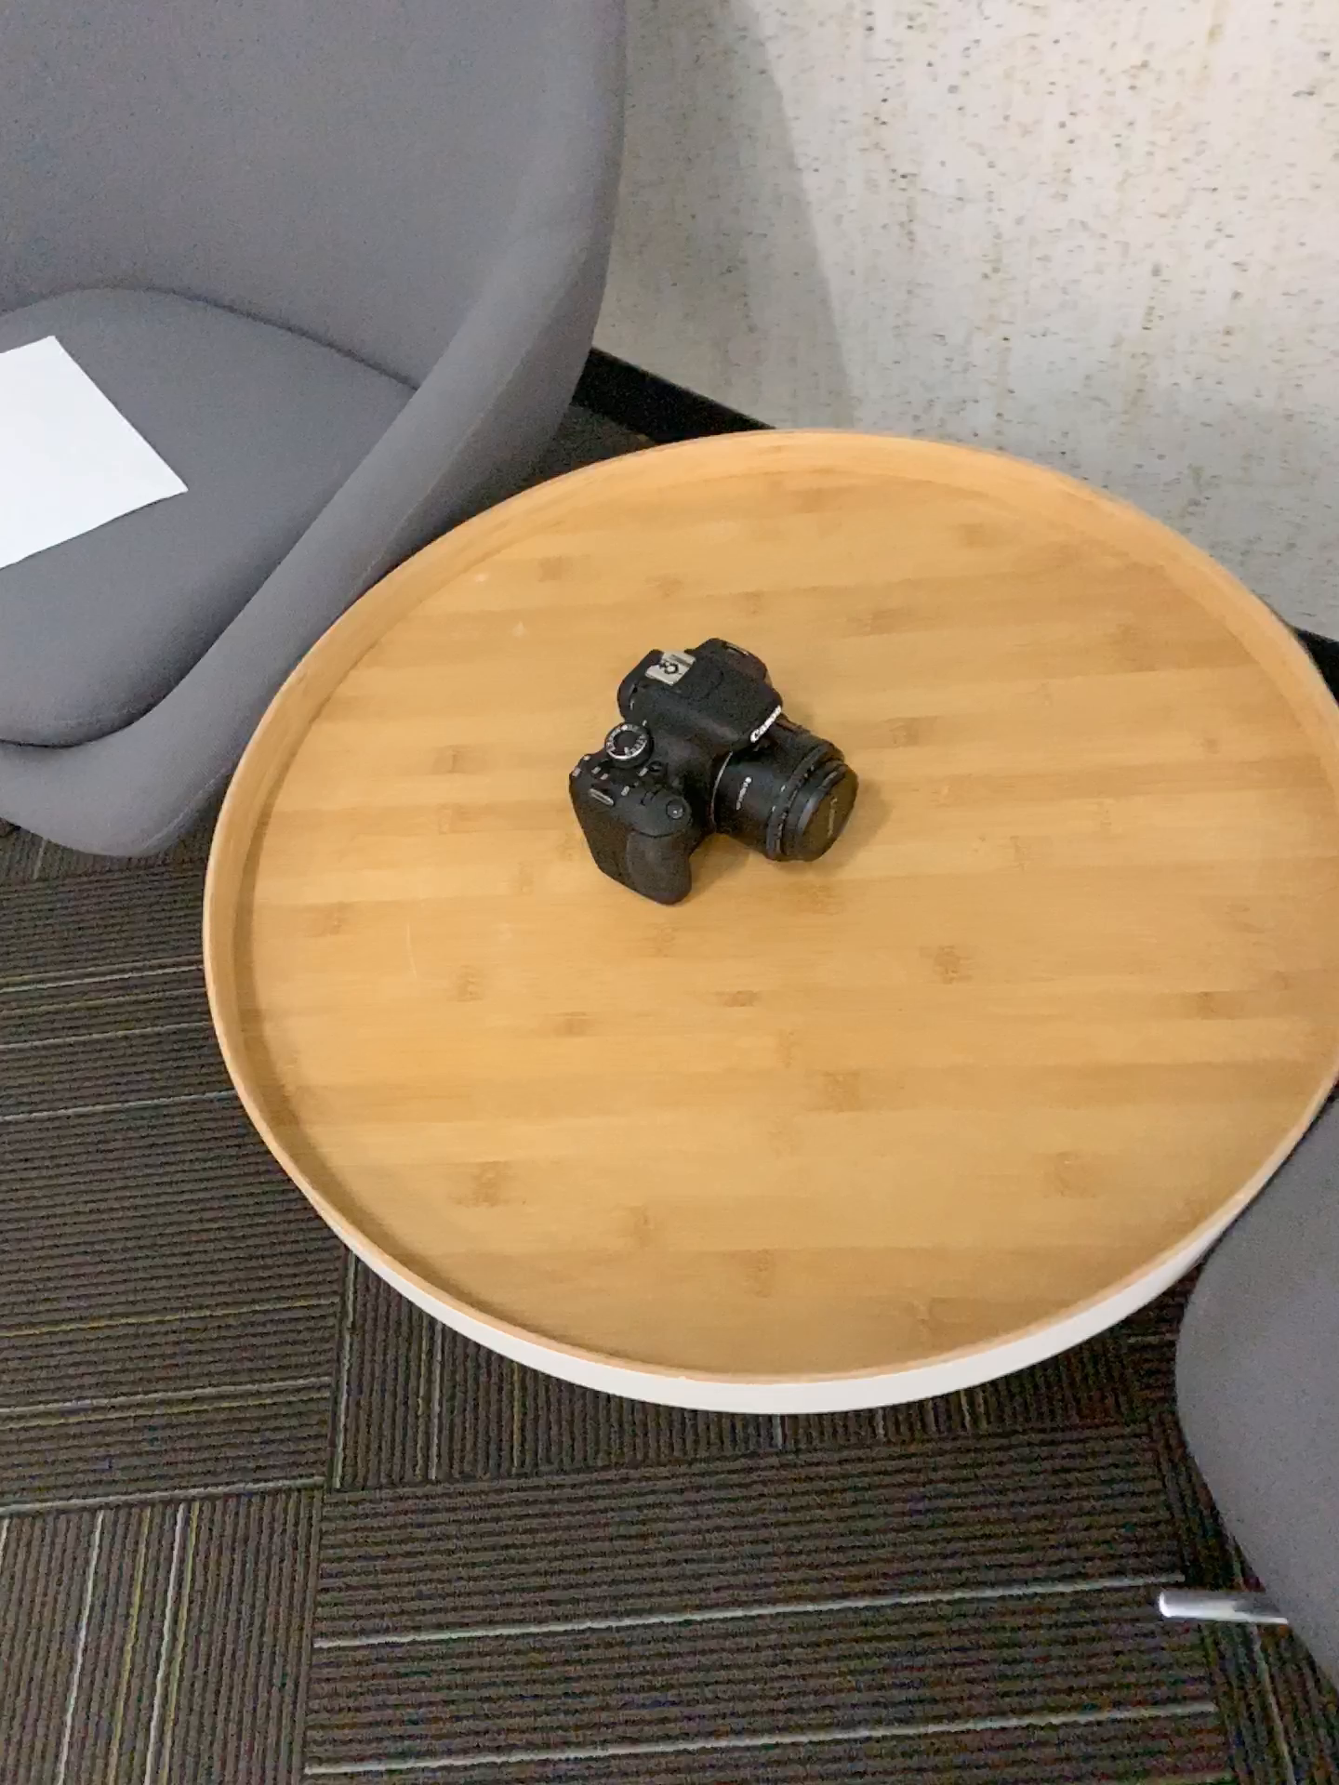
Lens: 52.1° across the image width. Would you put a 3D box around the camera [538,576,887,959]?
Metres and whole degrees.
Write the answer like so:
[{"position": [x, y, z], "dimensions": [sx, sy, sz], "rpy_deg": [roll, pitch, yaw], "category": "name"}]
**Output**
[{"position": [0.028, -0.066, 0.713], "dimensions": [0.117, 0.100, 0.133], "rpy_deg": [28, 65, 24], "category": "camera"}]
